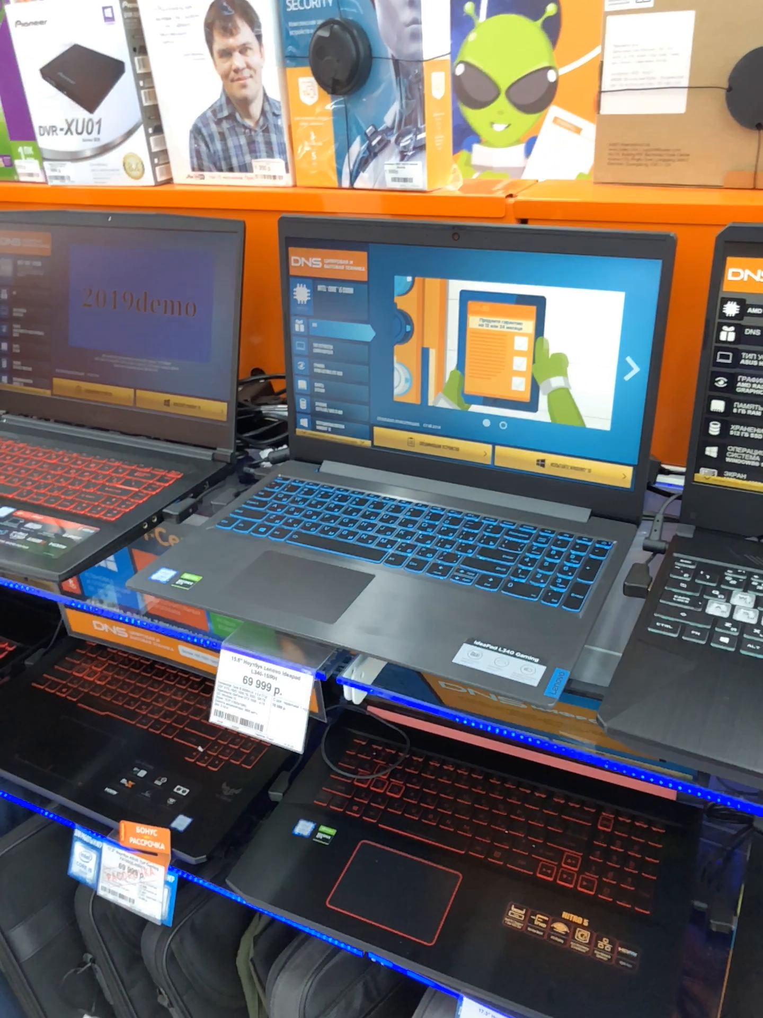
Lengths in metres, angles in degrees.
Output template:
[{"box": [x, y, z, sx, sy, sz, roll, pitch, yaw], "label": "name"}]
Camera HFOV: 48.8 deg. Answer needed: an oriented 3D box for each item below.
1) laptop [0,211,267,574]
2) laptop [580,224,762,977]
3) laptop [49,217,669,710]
[{"box": [-0.365, -0.148, 0.842, 0.356, 0.224, 0.320, 11, 31, 24], "label": "laptop"}, {"box": [0.344, -0.004, 0.479, 0.368, 0.244, 0.274, 12, 32, 27], "label": "laptop"}, {"box": [0.002, -0.073, 0.654, 0.357, 0.235, 0.279, 12, 32, 25], "label": "laptop"}]
